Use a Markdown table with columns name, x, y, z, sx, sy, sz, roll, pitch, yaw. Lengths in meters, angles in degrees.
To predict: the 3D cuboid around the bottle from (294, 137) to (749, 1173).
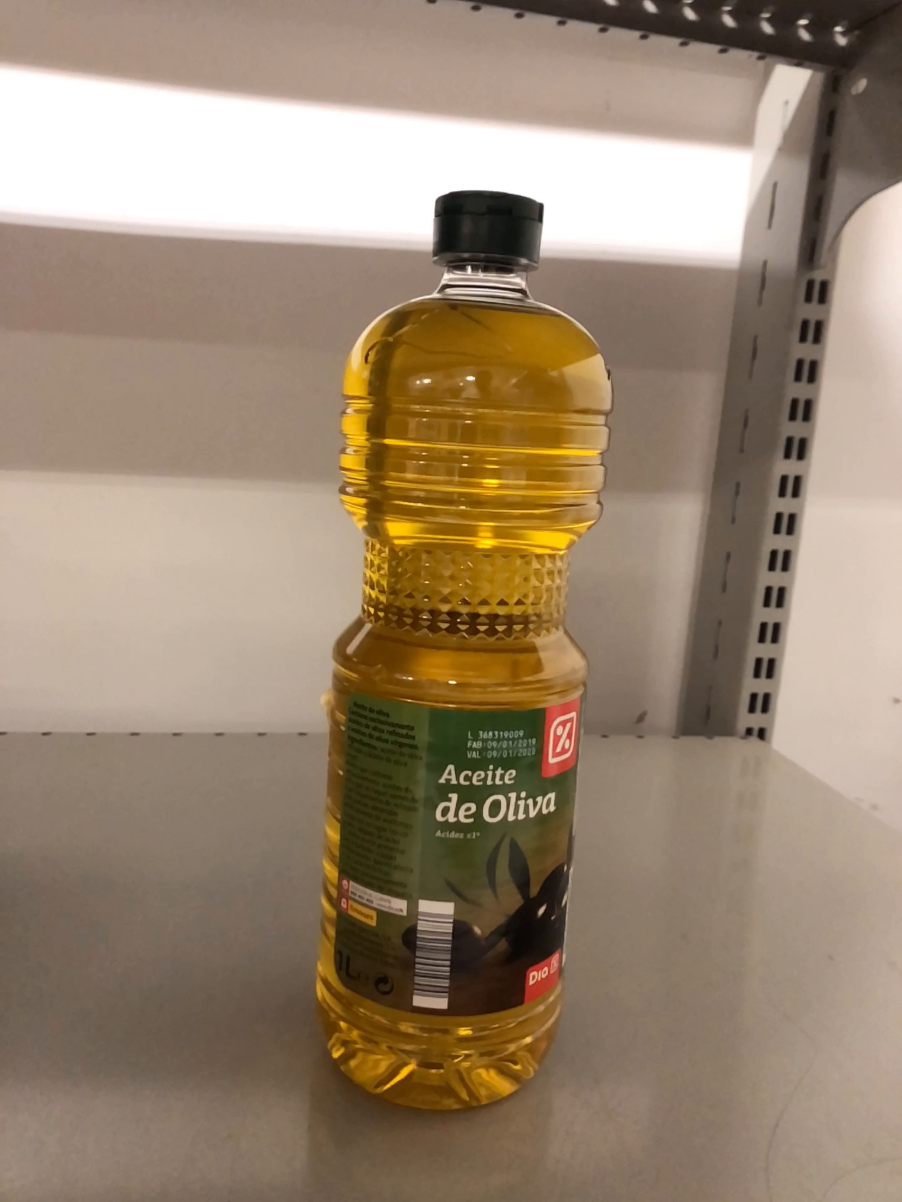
| name | x | y | z | sx | sy | sz | roll | pitch | yaw |
| --- | --- | --- | --- | --- | --- | --- | --- | --- | --- |
| bottle | 0.013 | 0.017 | 0.278 | 0.080 | 0.249 | 0.060 | -1 | 13 | -30 |
